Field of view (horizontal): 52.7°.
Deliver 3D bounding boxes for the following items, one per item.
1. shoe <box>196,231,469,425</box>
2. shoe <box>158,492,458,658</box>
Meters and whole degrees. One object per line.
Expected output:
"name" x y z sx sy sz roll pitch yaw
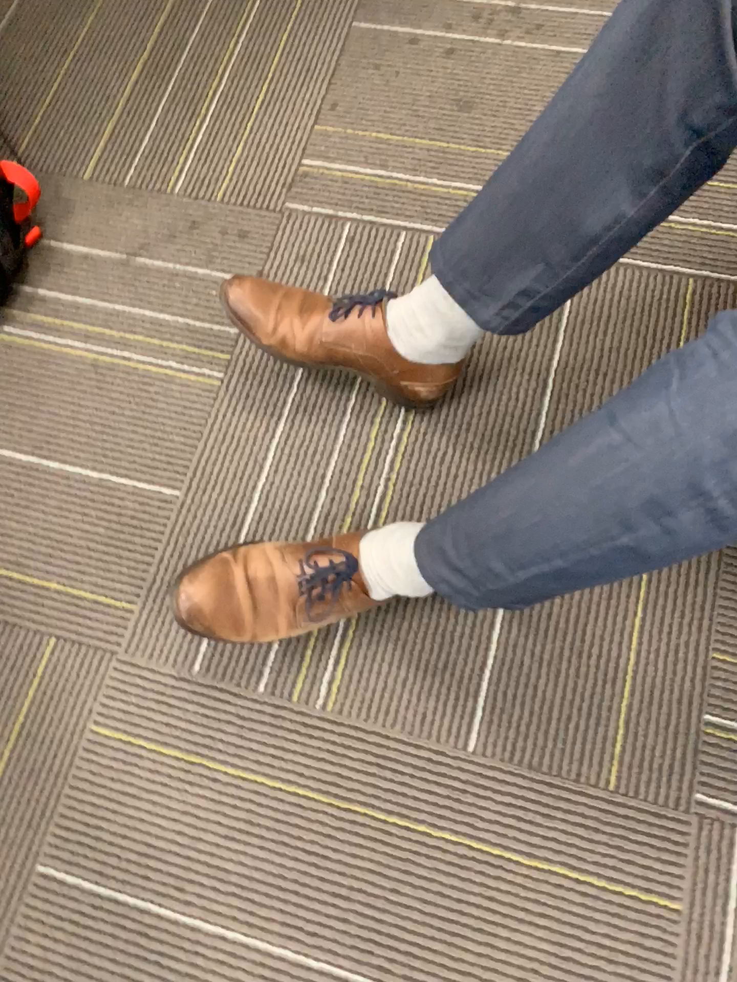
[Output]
"shoe" -0.036 -0.180 0.832 0.281 0.074 0.103 19 51 -8
"shoe" -0.062 0.080 0.739 0.271 0.084 0.121 -6 81 -18
